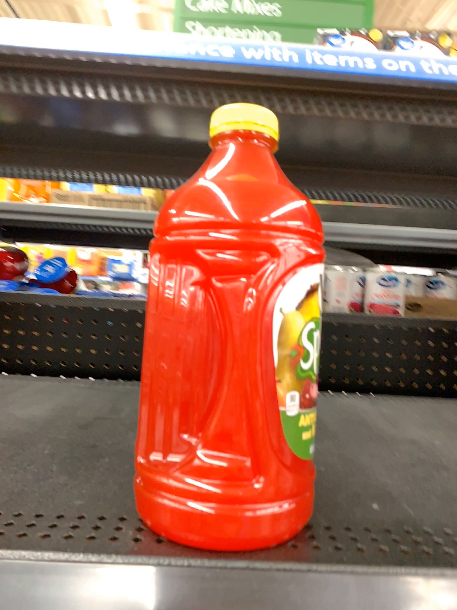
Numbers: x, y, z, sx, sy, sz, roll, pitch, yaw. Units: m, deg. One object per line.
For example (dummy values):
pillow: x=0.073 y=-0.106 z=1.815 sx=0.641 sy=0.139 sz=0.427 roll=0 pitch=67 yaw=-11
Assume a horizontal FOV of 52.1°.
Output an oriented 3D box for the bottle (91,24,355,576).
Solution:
bottle: x=0.009 y=-0.006 z=0.307 sx=0.122 sy=0.265 sz=0.140 roll=4 pitch=0 yaw=13
